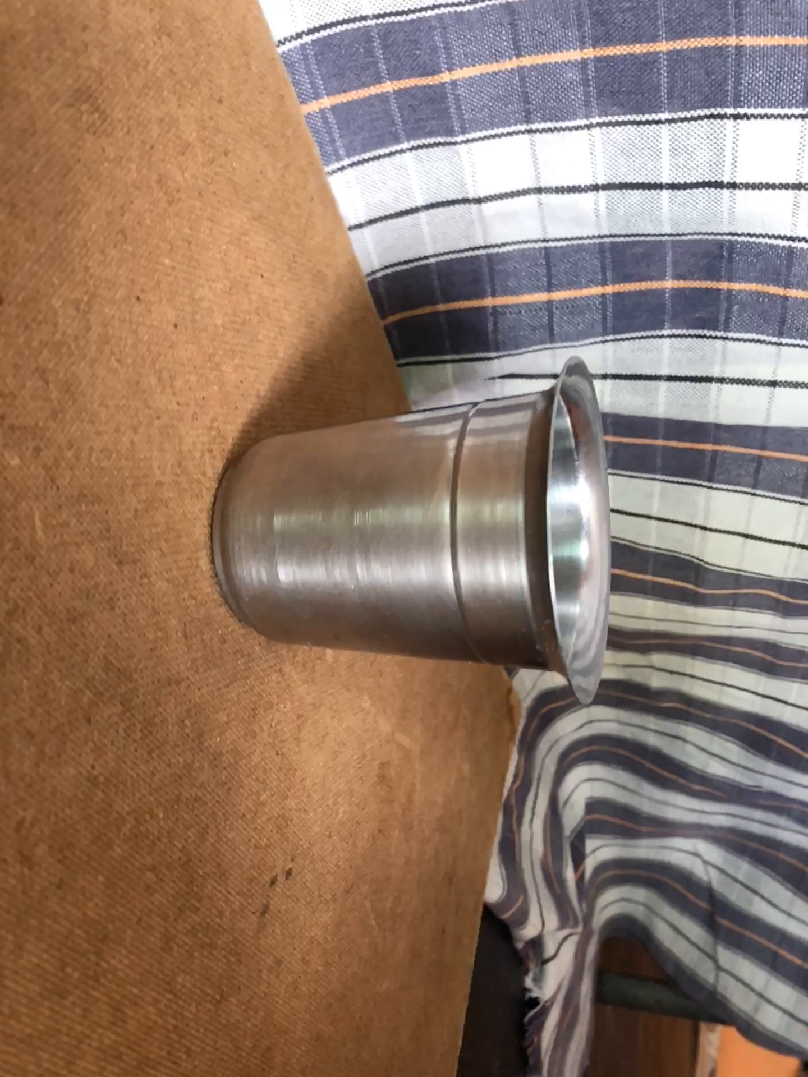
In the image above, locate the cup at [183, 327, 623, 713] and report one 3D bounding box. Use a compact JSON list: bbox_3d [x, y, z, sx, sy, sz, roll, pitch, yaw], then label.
[{"bbox_3d":[0.007,-0.007,0.222,0.070,0.079,0.070,-2,90,-70],"label":"cup"}]
